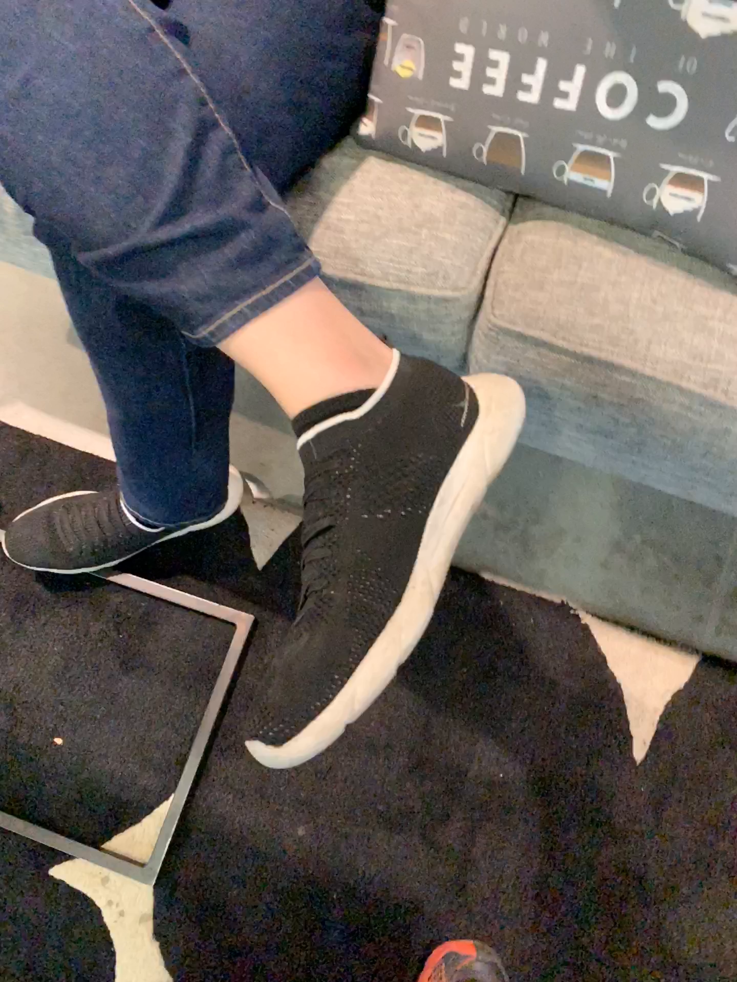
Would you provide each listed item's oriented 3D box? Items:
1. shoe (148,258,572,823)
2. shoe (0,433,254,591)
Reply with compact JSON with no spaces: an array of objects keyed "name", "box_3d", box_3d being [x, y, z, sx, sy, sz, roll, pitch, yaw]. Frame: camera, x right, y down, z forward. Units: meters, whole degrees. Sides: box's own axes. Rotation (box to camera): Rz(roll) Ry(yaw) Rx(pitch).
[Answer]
[{"name":"shoe","box_3d":[0.000,0.025,0.441,0.132,0.112,0.276,26,64,-6]},{"name":"shoe","box_3d":[-0.314,0.029,0.969,0.303,0.074,0.116,-15,75,-1]}]
